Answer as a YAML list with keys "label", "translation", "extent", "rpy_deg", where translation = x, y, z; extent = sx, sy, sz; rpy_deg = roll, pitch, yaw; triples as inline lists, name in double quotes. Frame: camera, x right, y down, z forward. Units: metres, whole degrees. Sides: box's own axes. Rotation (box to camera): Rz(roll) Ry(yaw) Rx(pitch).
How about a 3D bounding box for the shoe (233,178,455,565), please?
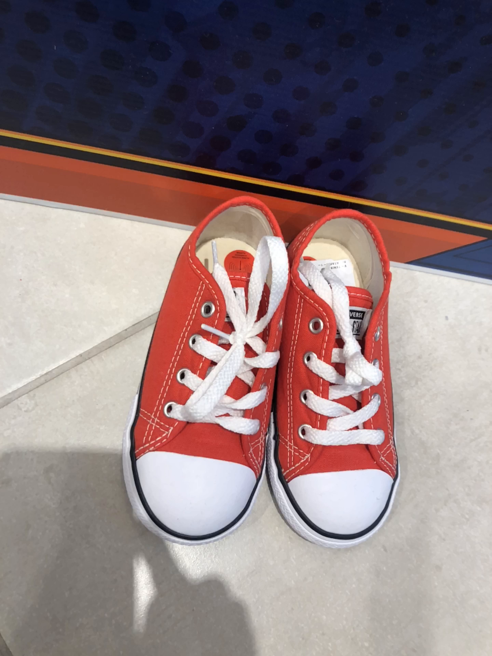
- label: "shoe"
  translation: [0.044, 0.022, 0.303]
  extent: [0.080, 0.070, 0.190]
  rpy_deg: [1, 72, -13]

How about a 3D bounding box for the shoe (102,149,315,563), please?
- label: "shoe"
  translation: [-0.017, 0.015, 0.288]
  extent: [0.080, 0.070, 0.190]
  rpy_deg: [9, 70, -10]
